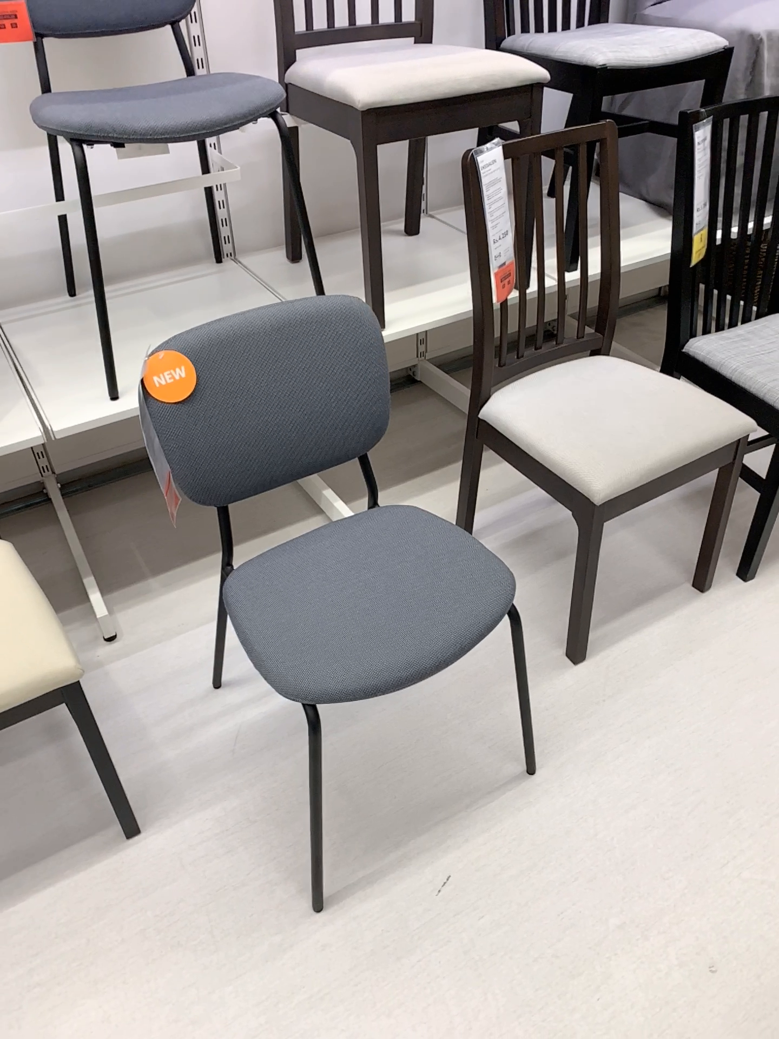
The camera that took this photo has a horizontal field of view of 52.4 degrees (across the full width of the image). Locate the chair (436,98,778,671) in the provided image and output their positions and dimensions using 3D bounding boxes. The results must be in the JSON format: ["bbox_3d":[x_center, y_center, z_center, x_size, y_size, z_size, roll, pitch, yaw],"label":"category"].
[{"bbox_3d":[0.451,-0.271,1.626,0.480,0.926,0.532,-23,44,-24],"label":"chair"}]

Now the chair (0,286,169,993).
[{"bbox_3d":[-0.738,0.174,1.212,0.480,0.807,0.532,-22,43,-23],"label":"chair"}]

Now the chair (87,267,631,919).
[{"bbox_3d":[-0.064,0.097,1.330,0.521,0.757,0.592,-23,44,-24],"label":"chair"}]
